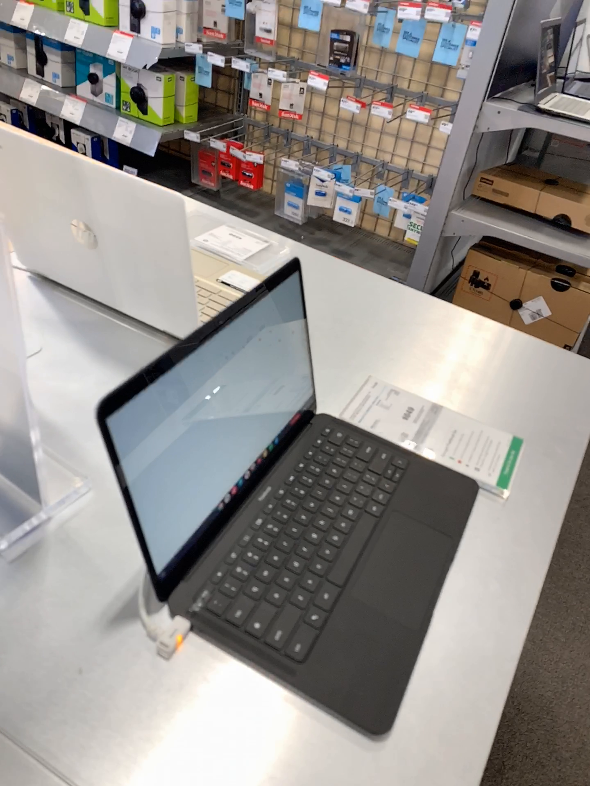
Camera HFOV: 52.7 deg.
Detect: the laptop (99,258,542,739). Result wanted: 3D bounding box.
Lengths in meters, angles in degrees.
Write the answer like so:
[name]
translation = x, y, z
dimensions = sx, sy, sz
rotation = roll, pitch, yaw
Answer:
[laptop]
translation = 0.034, 0.058, 0.523
dimensions = 0.253, 0.180, 0.295
rotation = 24, 40, 15
